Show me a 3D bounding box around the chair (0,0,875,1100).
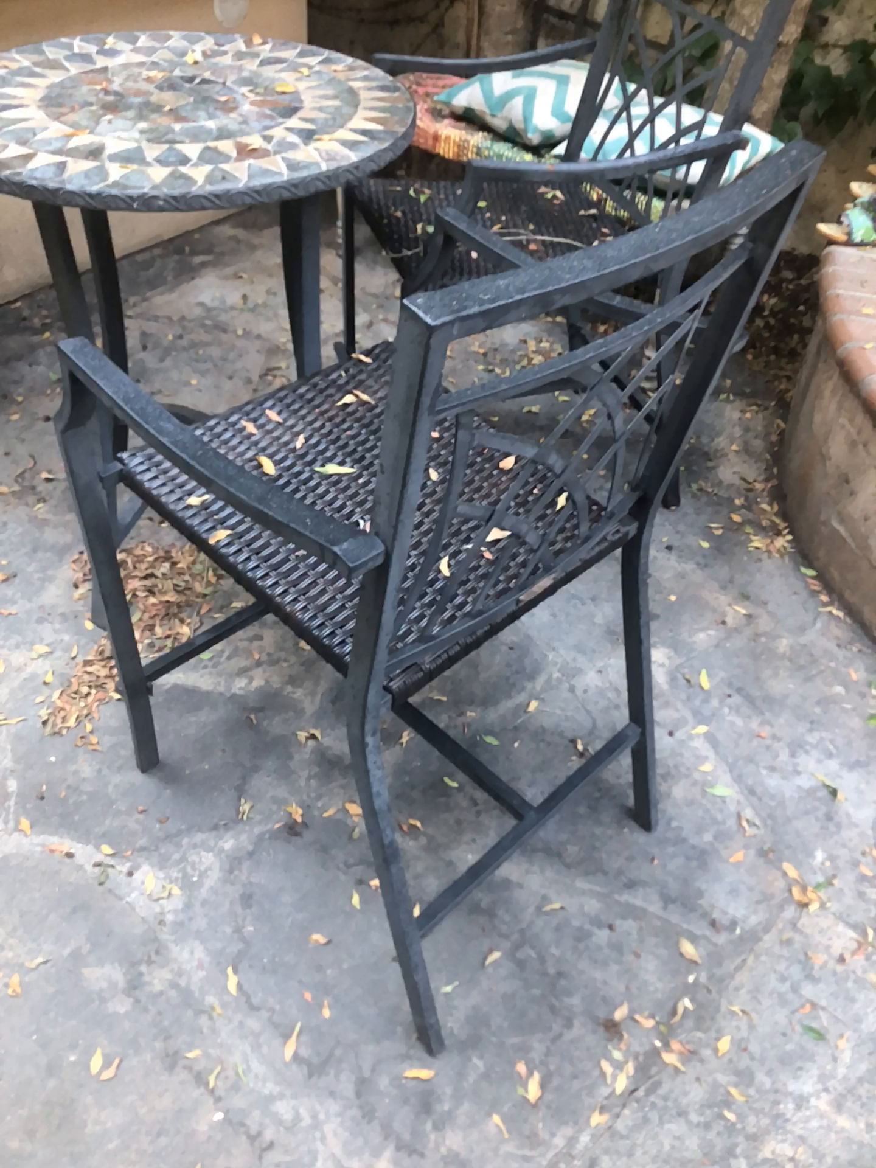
[{"bbox_3d":[-0.014,-0.077,1.140,0.684,0.912,0.692,-33,54,-32],"label":"chair"}]
